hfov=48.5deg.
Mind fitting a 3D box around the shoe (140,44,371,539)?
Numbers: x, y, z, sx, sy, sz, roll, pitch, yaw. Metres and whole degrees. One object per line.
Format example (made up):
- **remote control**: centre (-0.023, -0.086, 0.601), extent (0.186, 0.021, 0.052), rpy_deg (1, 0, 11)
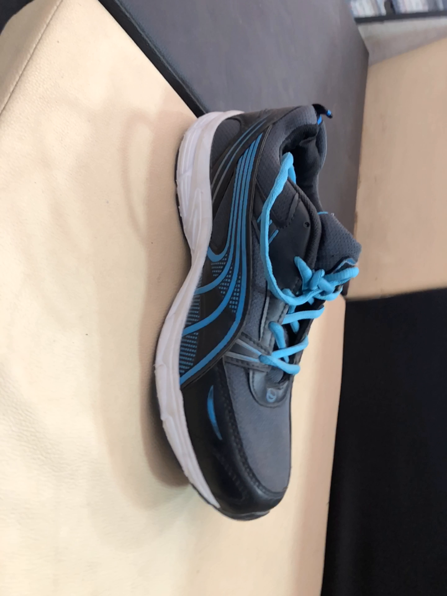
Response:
- **shoe**: centre (0.029, -0.004, 0.328), extent (0.101, 0.099, 0.270), rpy_deg (23, 66, -52)
